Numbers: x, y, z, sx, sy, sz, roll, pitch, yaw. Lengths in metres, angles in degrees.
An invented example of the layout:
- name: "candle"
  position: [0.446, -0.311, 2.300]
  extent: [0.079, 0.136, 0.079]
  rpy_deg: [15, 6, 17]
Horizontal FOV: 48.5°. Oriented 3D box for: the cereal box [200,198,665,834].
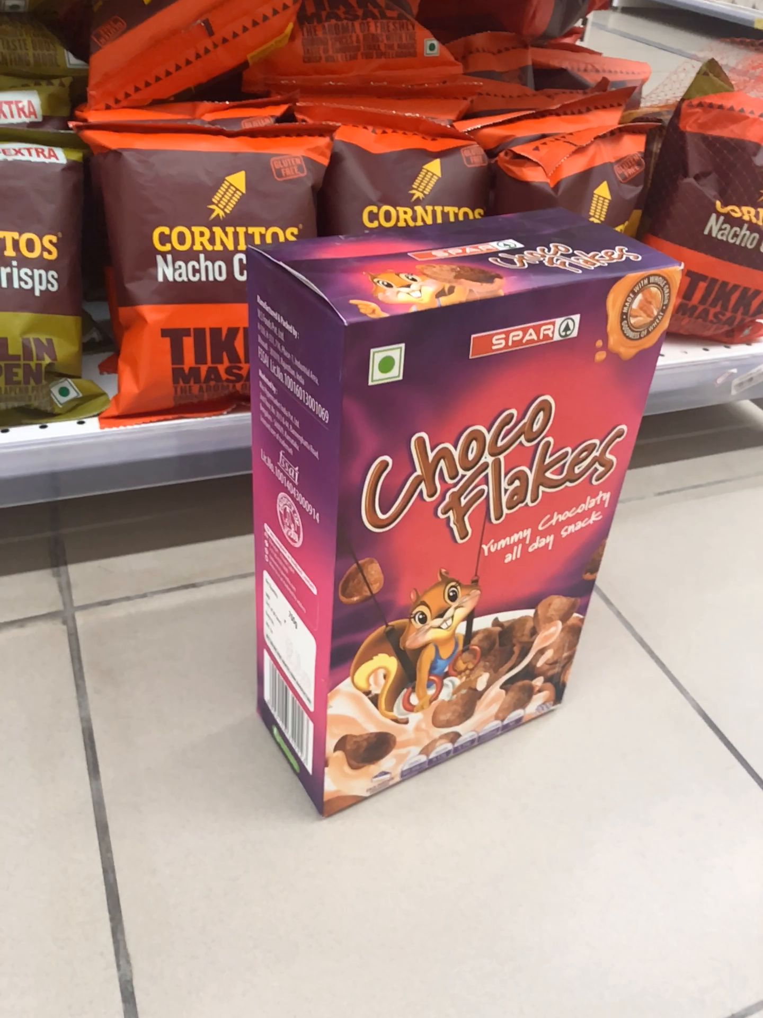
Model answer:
- name: "cereal box"
  position: [0.013, 0.014, 0.493]
  extent: [0.200, 0.339, 0.090]
  rpy_deg: [-17, 43, -28]
